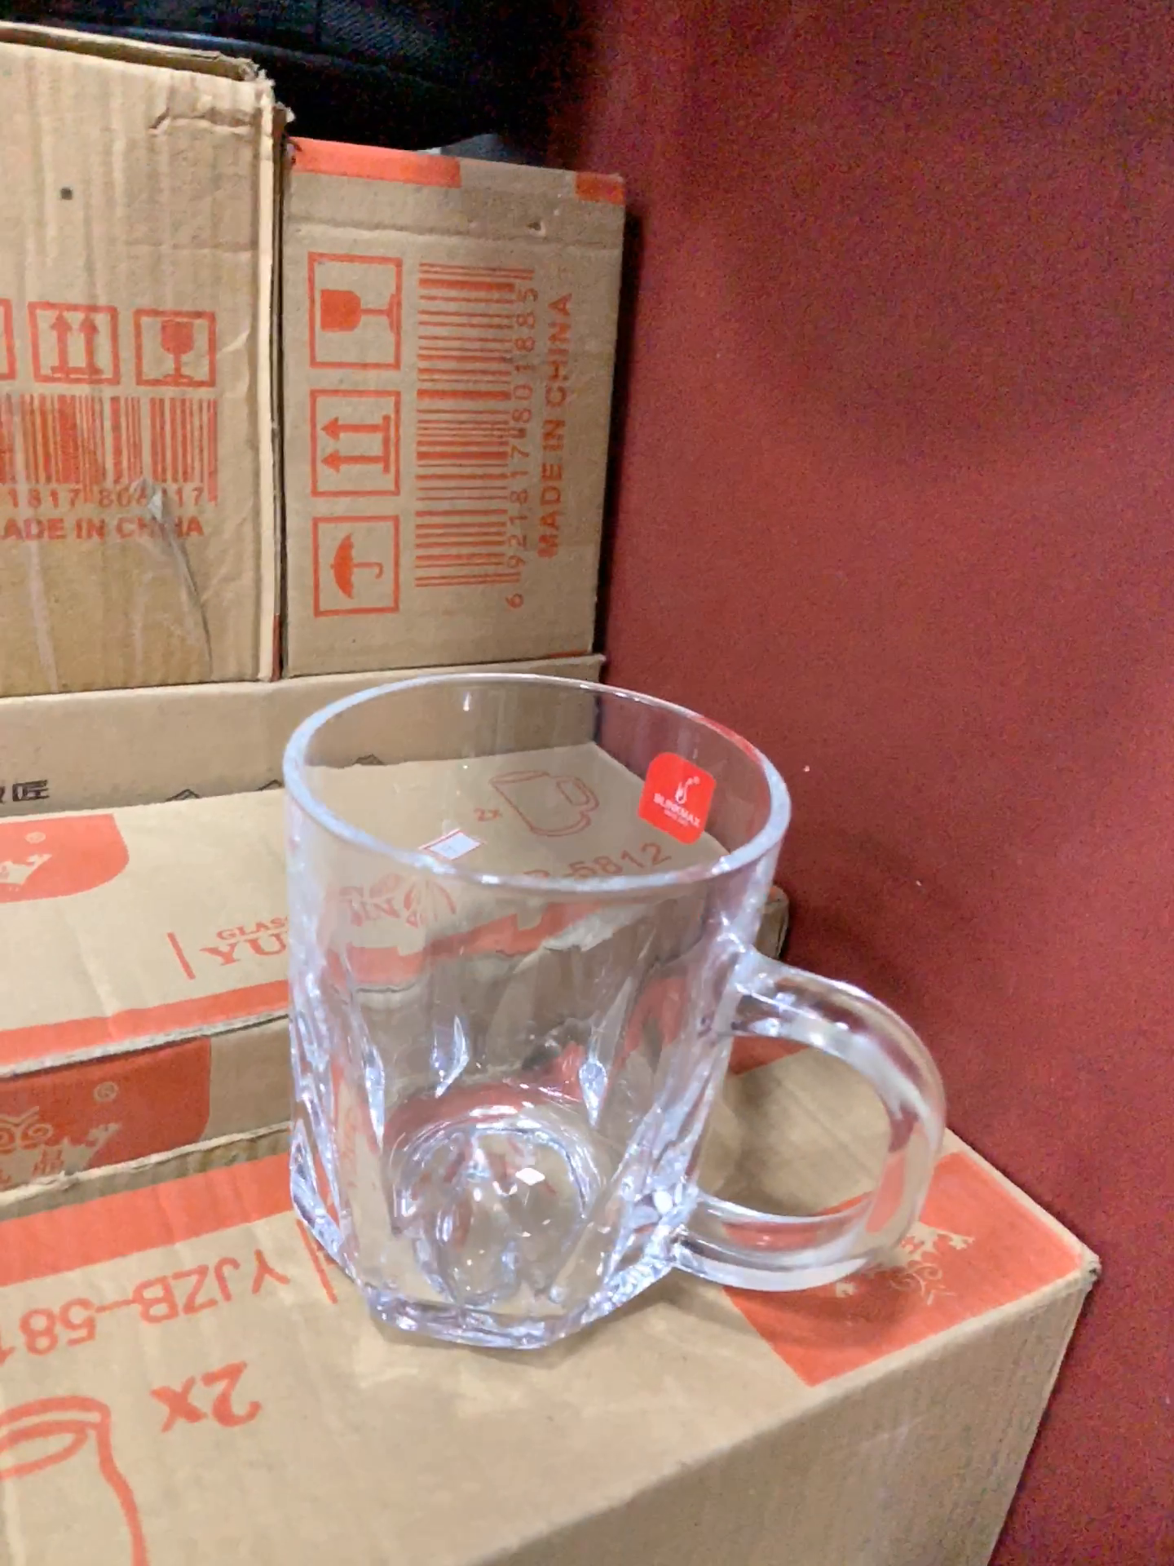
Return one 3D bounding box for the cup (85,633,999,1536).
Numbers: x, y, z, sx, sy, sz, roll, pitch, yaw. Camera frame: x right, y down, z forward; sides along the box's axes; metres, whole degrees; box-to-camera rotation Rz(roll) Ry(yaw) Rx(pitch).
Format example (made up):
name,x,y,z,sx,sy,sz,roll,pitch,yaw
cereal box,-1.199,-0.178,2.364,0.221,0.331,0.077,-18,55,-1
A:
name,x,y,z,sx,sy,sz,roll,pitch,yaw
cup,-0.004,0.030,0.173,0.100,0.072,0.069,14,23,20
